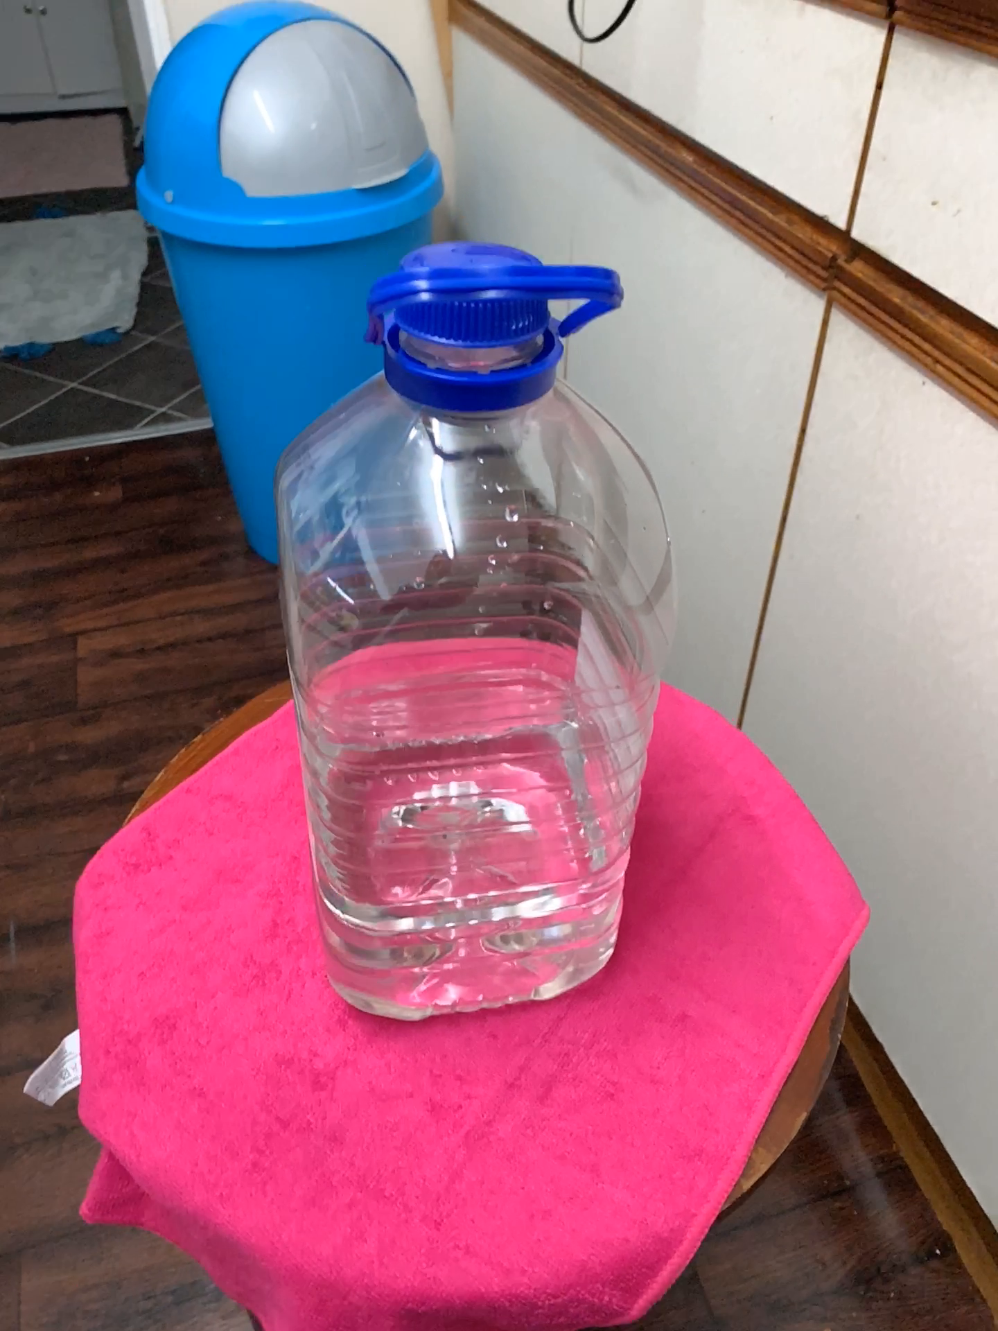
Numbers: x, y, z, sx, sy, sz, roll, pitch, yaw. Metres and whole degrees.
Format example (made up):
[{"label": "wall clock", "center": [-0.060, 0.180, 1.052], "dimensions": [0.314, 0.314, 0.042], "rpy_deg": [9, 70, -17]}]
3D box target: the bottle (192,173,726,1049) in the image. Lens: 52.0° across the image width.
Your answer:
[{"label": "bottle", "center": [-0.022, -0.005, 0.428], "dimensions": [0.140, 0.327, 0.151], "rpy_deg": [0, 41, 0]}]
